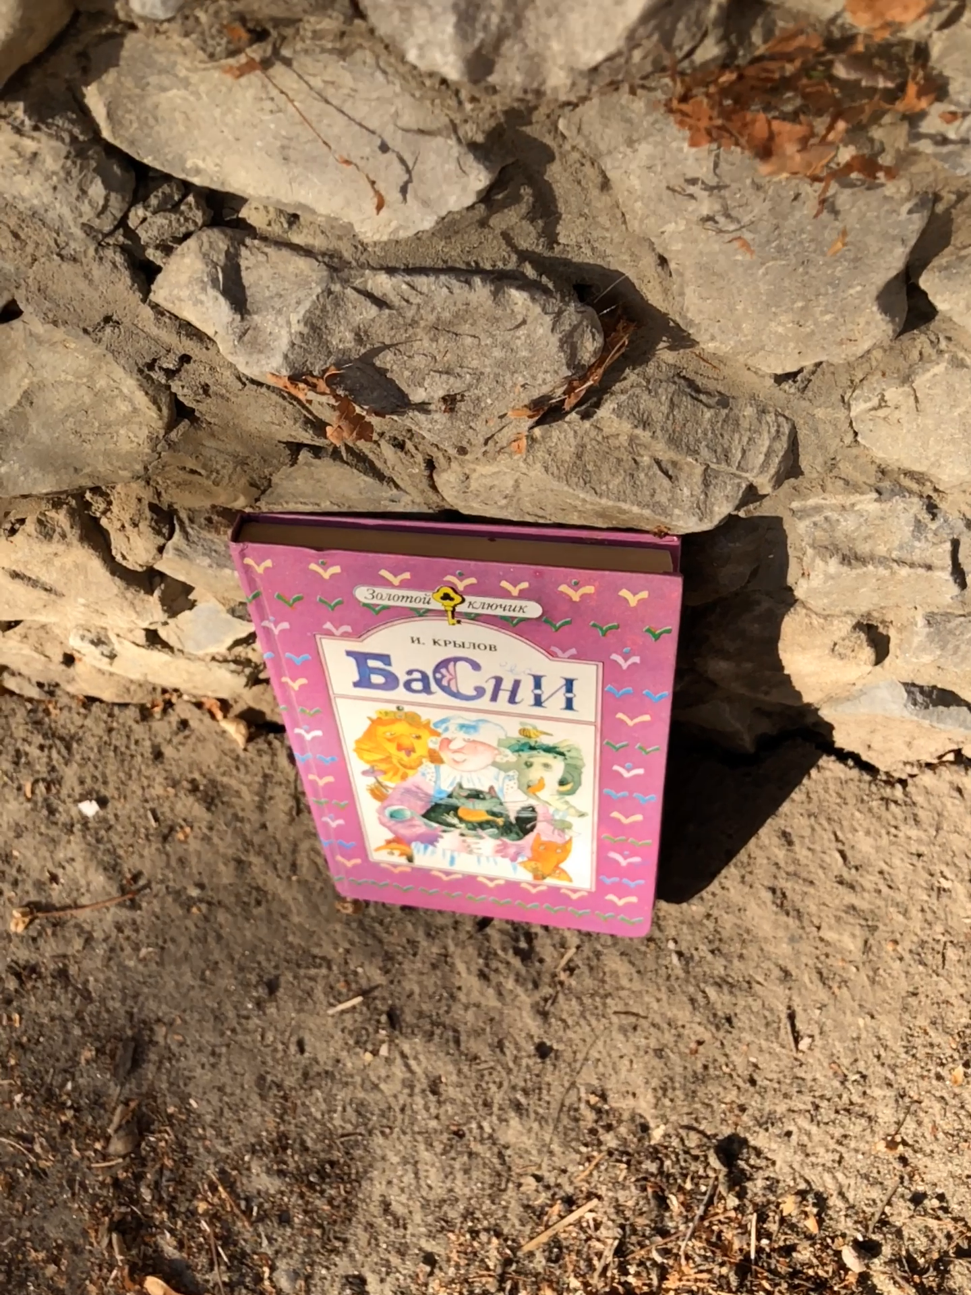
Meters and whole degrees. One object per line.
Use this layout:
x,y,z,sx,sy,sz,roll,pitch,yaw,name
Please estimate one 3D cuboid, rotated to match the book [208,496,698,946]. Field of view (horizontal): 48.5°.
-0.005,0.038,0.387,0.141,0.202,0.025,4,46,8,book
